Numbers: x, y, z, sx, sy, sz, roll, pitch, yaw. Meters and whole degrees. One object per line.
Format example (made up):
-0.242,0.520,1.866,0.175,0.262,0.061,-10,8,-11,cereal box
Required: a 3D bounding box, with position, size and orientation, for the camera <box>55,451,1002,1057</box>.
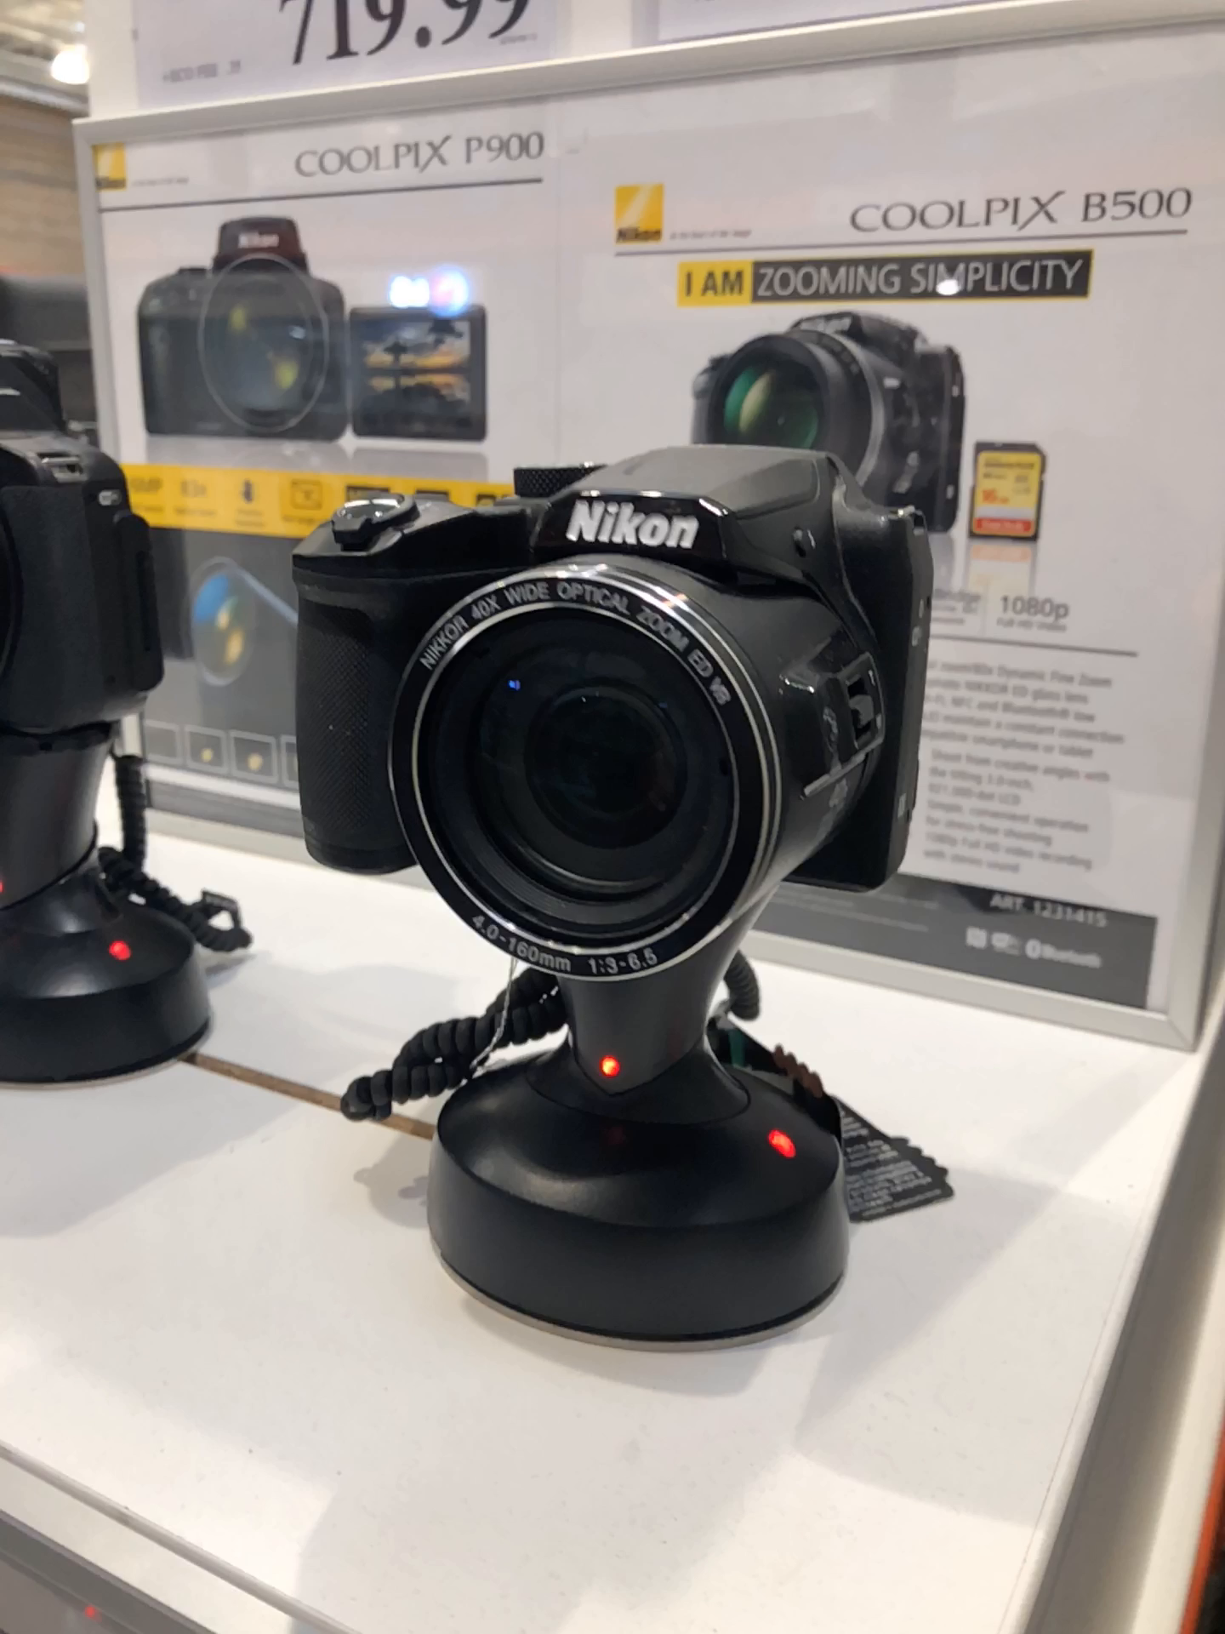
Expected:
-0.007,-0.024,0.231,0.120,0.070,0.100,8,18,24,camera
